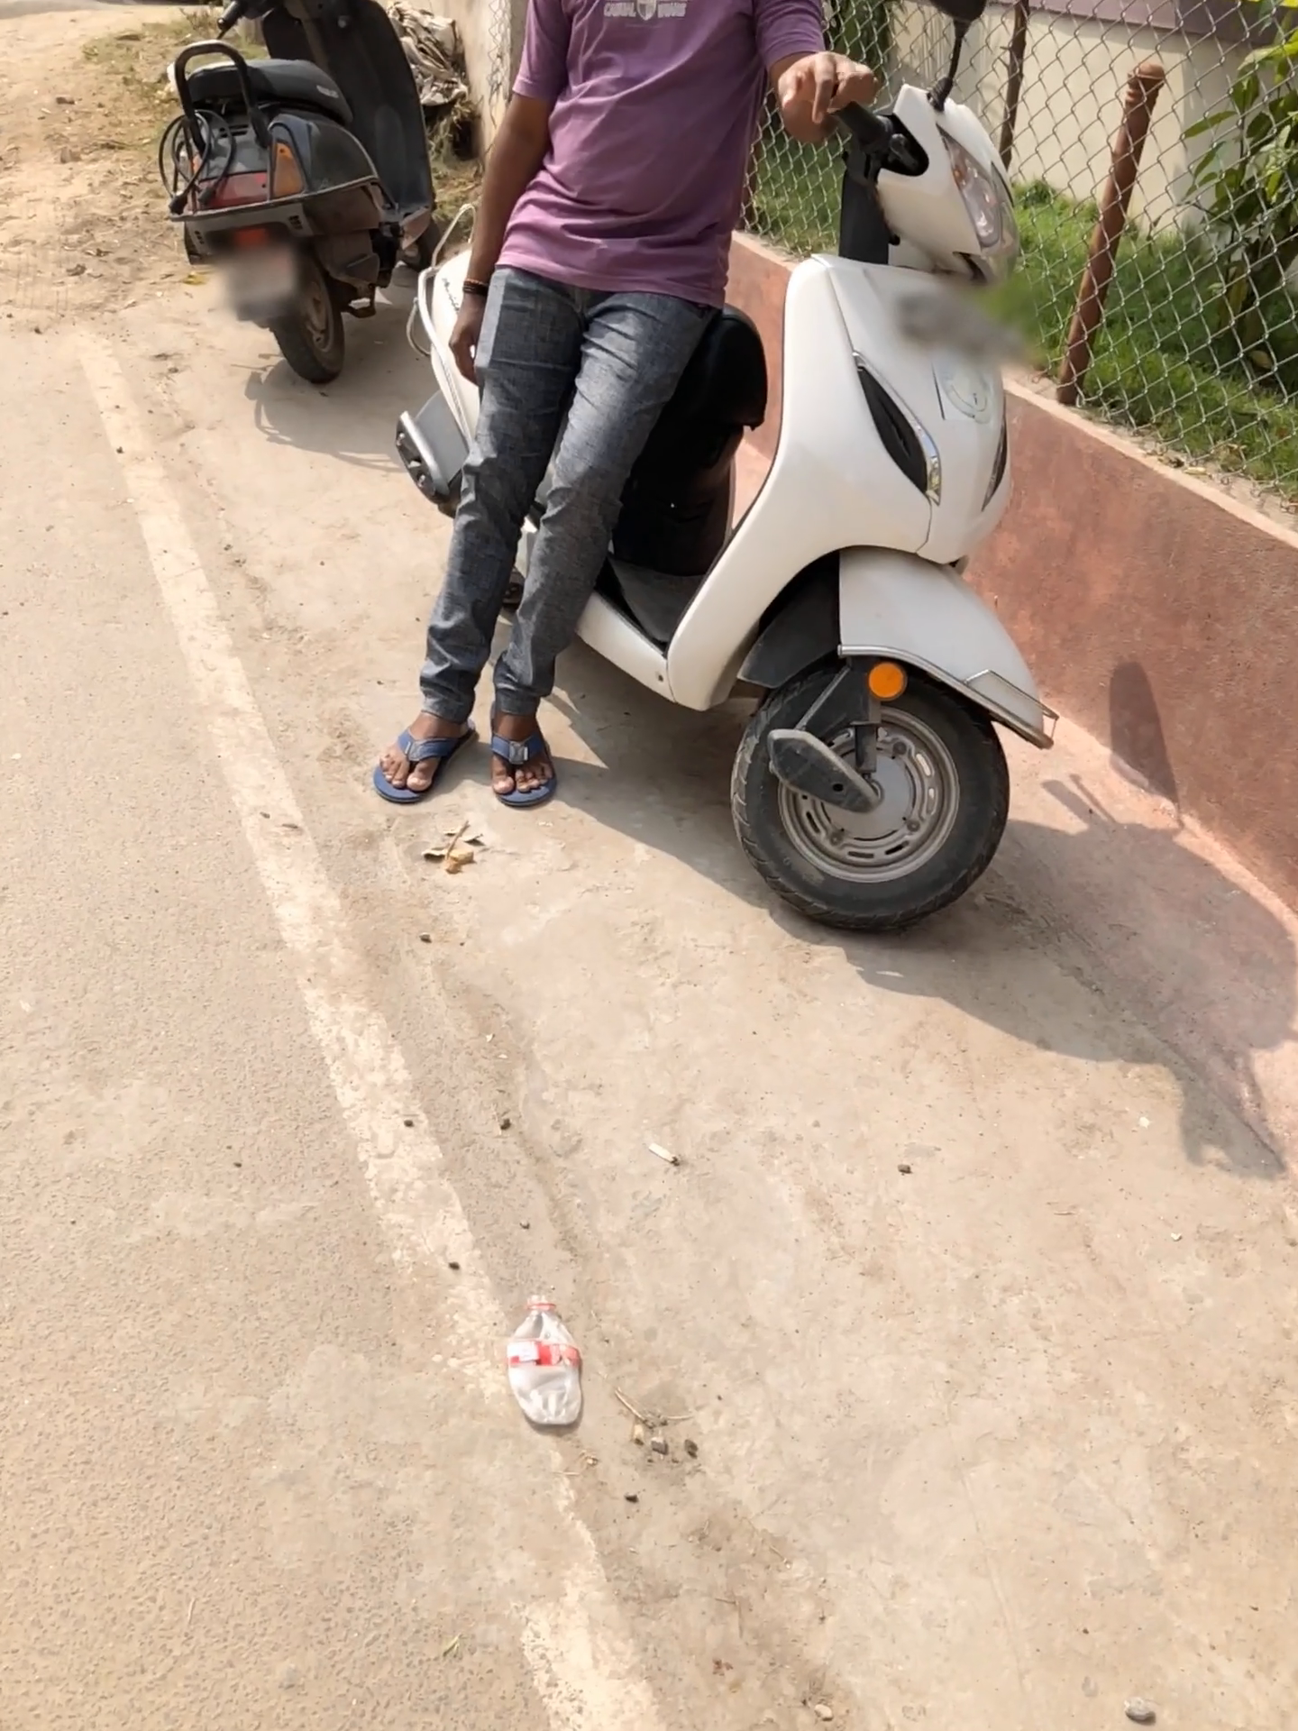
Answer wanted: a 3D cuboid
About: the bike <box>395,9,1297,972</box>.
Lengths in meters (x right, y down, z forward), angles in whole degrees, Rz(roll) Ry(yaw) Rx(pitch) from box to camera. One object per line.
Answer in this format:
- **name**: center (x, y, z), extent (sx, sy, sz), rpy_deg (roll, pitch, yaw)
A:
- **bike**: center (0.212, -0.757, 2.514), extent (0.620, 1.112, 1.554), rpy_deg (-16, 39, -33)
